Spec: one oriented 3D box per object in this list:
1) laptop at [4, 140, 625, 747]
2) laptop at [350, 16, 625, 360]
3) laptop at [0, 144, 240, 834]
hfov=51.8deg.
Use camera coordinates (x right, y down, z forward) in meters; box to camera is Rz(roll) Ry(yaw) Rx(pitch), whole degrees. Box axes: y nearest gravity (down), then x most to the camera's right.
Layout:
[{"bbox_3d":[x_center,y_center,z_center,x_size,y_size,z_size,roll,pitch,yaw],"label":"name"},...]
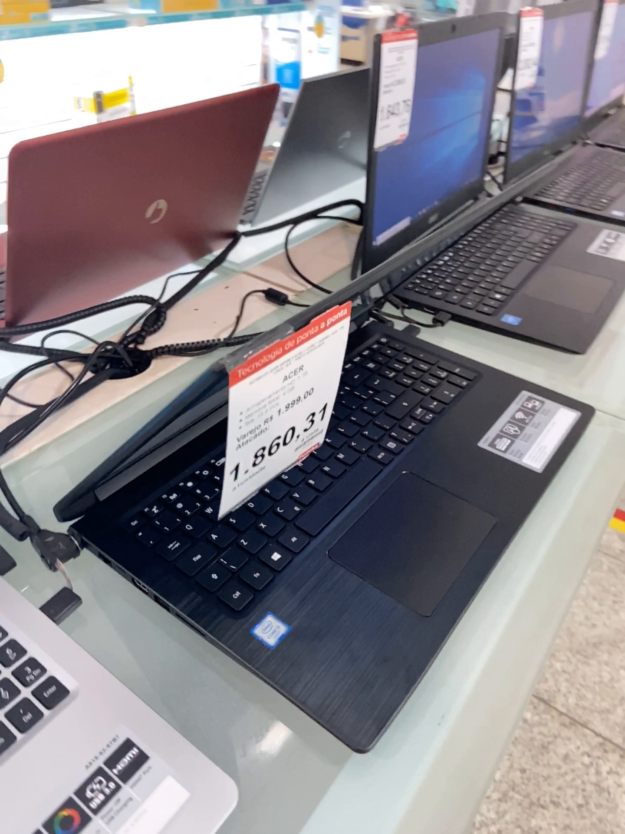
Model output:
[{"bbox_3d":[0.049,-0.038,0.448,0.234,0.186,0.375,26,43,28],"label":"laptop"},{"bbox_3d":[0.273,-0.316,0.780,0.285,0.245,0.433,23,40,24],"label":"laptop"},{"bbox_3d":[-0.270,0.117,0.178,0.302,0.233,0.397,26,43,28],"label":"laptop"}]
